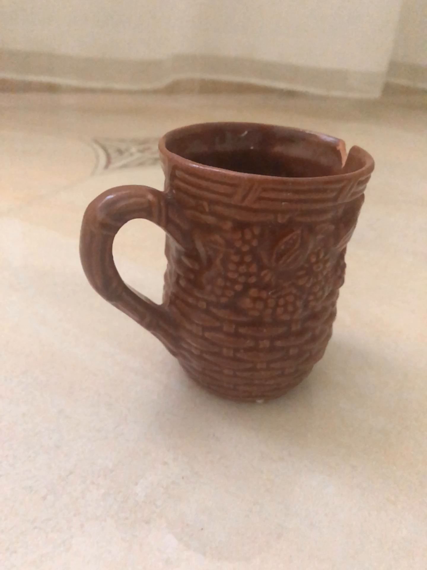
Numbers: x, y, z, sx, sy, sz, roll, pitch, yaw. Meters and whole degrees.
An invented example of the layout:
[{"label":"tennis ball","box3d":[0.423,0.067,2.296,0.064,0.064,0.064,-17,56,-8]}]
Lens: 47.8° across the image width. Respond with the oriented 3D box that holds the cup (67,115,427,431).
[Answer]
[{"label":"cup","box3d":[0.005,-0.011,0.174,0.104,0.081,0.073,-4,31,-14]}]
